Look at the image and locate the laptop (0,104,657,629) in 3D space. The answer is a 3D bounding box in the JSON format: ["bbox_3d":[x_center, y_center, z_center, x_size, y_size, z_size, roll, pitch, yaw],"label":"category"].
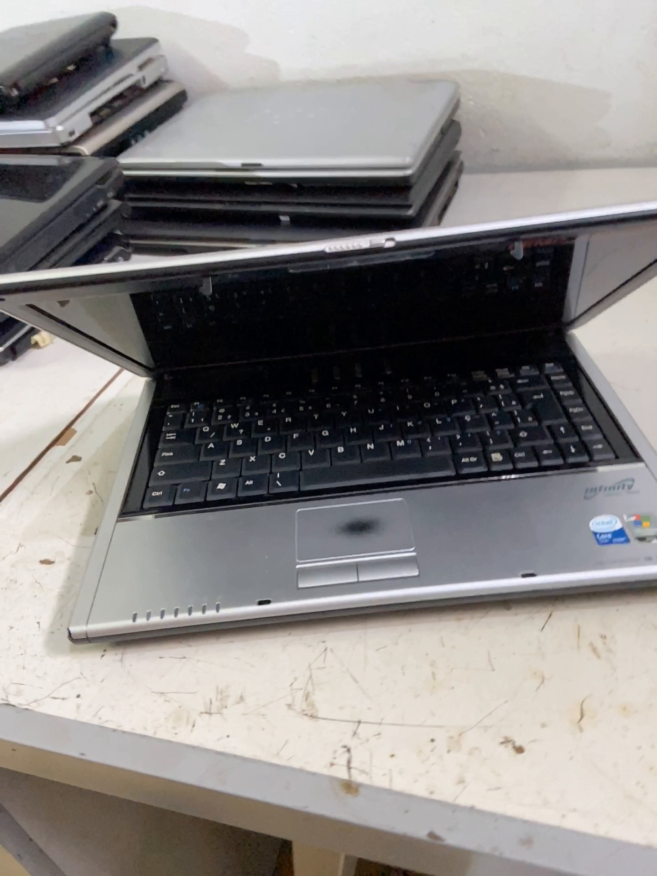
[{"bbox_3d":[0.019,-0.054,0.383,0.330,0.164,0.228,-6,38,2],"label":"laptop"}]
